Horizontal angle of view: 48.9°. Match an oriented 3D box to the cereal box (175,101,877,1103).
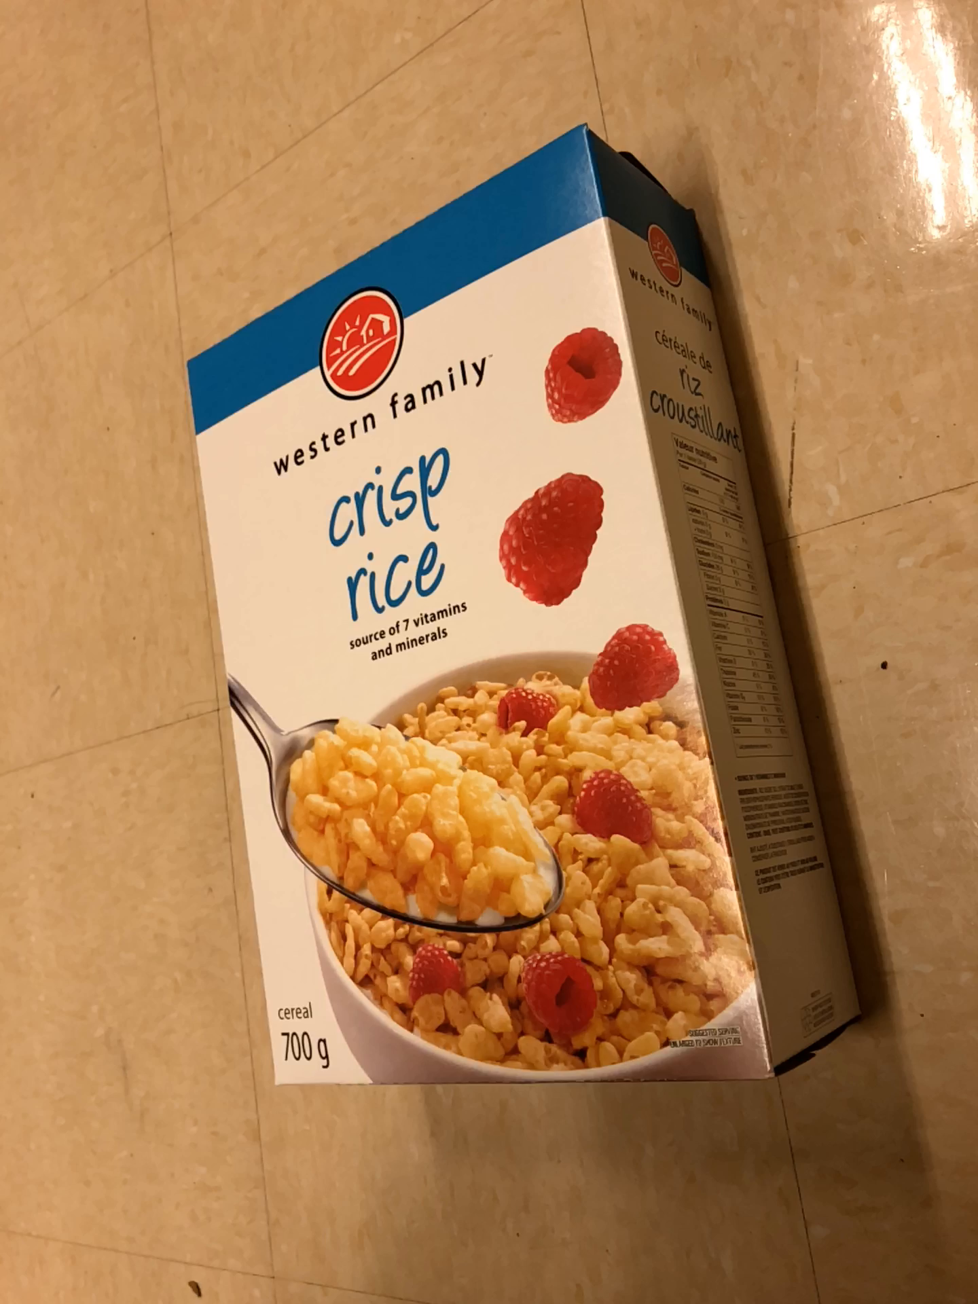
[{"bbox_3d":[-0.007,-0.001,0.429,0.231,0.080,0.320,-17,76,36],"label":"cereal box"}]
